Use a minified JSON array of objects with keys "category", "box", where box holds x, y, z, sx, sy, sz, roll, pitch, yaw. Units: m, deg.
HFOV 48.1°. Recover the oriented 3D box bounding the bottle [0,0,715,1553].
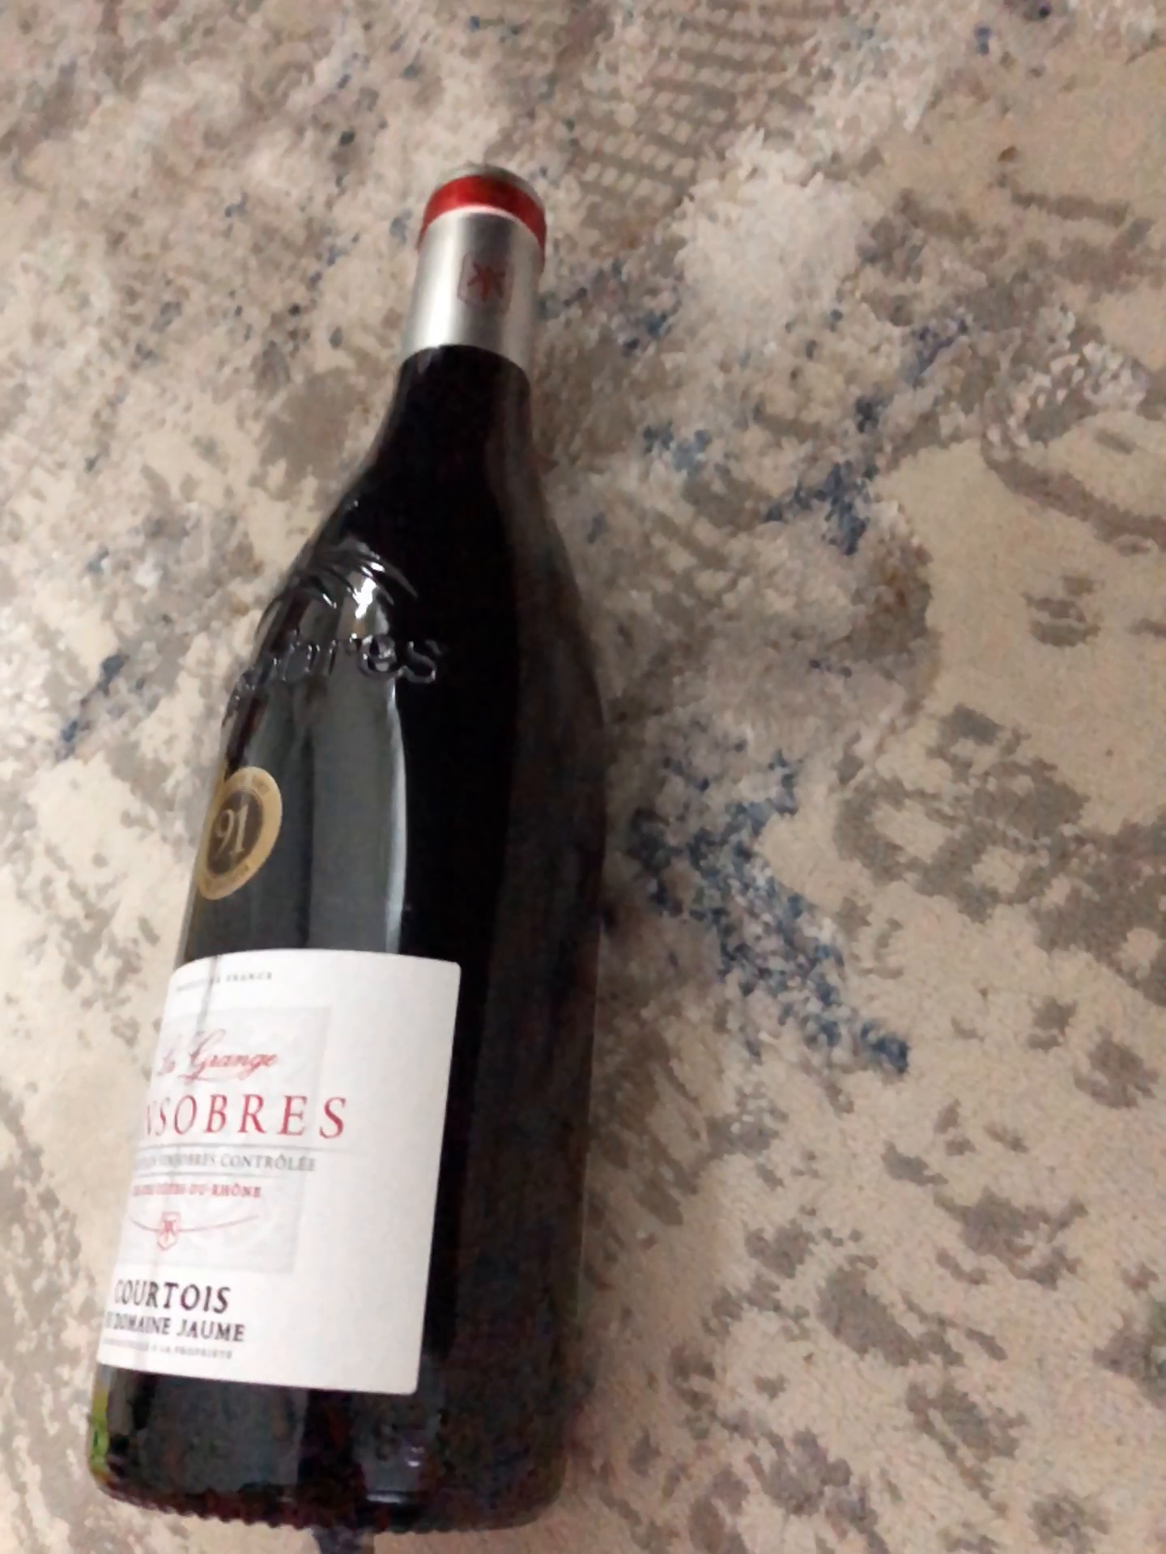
[{"category":"bottle","box":[-0.041,-0.017,0.273,0.090,0.100,0.300,-12,63,34]}]
